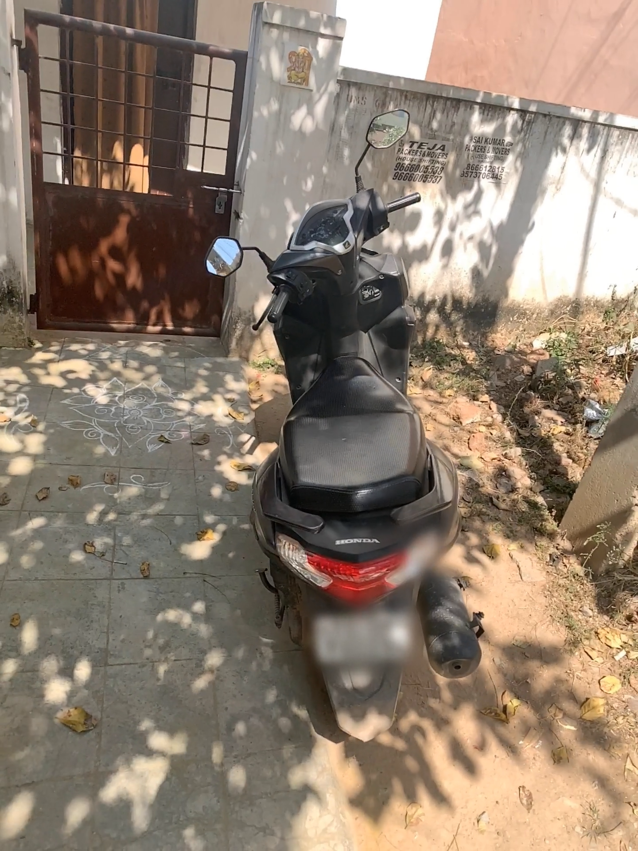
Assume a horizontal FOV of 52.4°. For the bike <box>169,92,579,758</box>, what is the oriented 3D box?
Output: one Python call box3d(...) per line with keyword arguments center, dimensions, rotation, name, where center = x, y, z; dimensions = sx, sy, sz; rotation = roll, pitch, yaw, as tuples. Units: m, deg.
box3d(center=(-0.082, -0.160, 1.934), dimensions=(0.606, 1.177, 1.515), rotation=(4, 32, -12), name="bike")
